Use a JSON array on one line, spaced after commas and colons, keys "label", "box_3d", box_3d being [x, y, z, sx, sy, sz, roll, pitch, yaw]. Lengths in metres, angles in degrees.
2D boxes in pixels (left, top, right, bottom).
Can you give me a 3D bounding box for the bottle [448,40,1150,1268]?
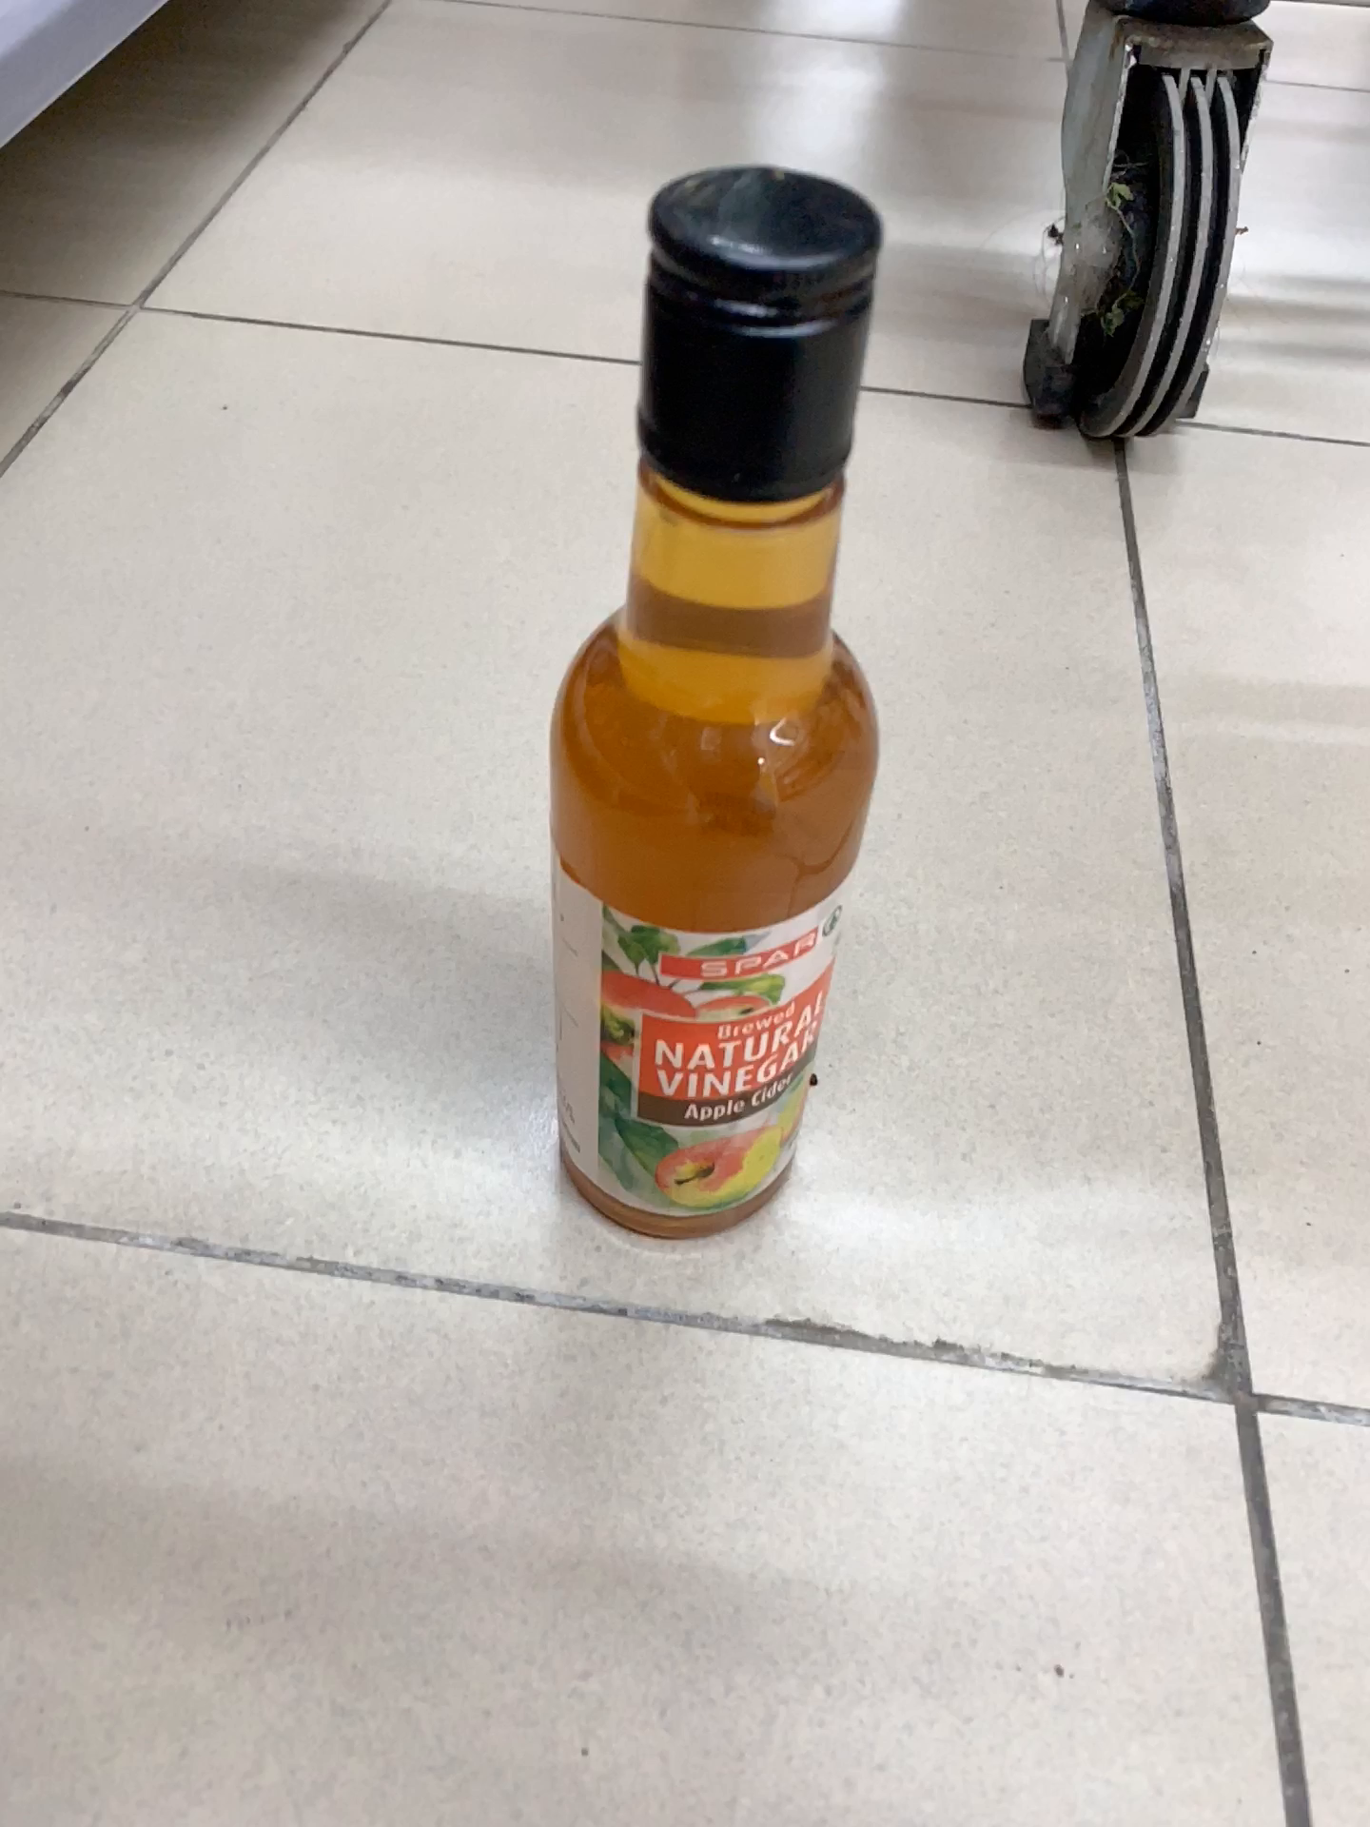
[{"label": "bottle", "box_3d": [0.007, -0.022, 0.254, 0.070, 0.219, 0.060, -11, 50, -12]}]
